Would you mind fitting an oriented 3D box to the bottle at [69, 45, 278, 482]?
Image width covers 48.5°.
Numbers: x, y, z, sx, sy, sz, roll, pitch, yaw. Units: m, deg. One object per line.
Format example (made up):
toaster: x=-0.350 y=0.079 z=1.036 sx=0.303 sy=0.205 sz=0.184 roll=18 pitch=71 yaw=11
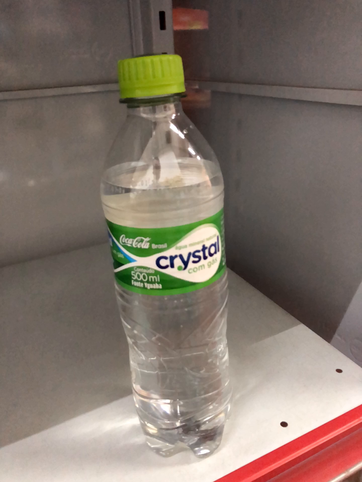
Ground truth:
bottle: x=-0.002 y=0.021 z=0.211 sx=0.070 sy=0.219 sz=0.060 roll=-12 pitch=25 yaw=-19
